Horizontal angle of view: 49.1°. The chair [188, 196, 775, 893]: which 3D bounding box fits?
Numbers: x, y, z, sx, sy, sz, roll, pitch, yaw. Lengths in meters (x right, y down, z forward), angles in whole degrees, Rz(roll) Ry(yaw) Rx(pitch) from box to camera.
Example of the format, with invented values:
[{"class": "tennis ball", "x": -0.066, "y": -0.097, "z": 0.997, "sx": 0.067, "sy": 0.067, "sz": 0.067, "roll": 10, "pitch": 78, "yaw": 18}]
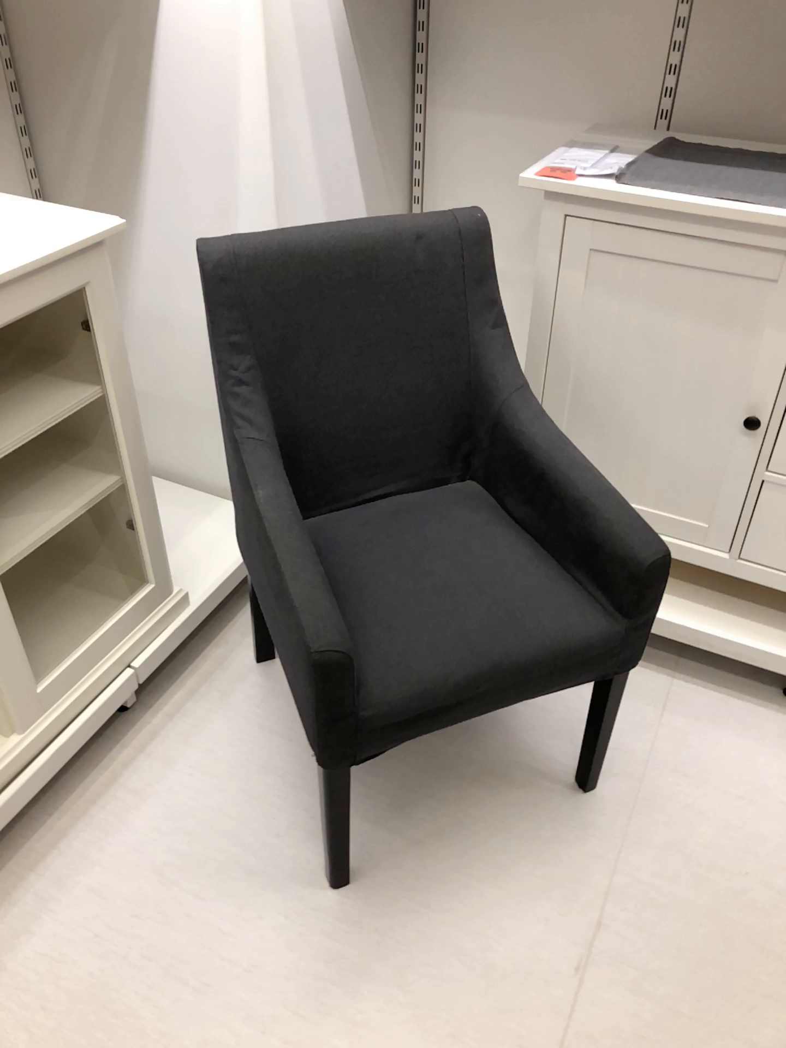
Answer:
[{"class": "chair", "x": 0.072, "y": 0.010, "z": 1.475, "sx": 0.611, "sy": 0.884, "sz": 0.624, "roll": -13, "pitch": 39, "yaw": -18}]
